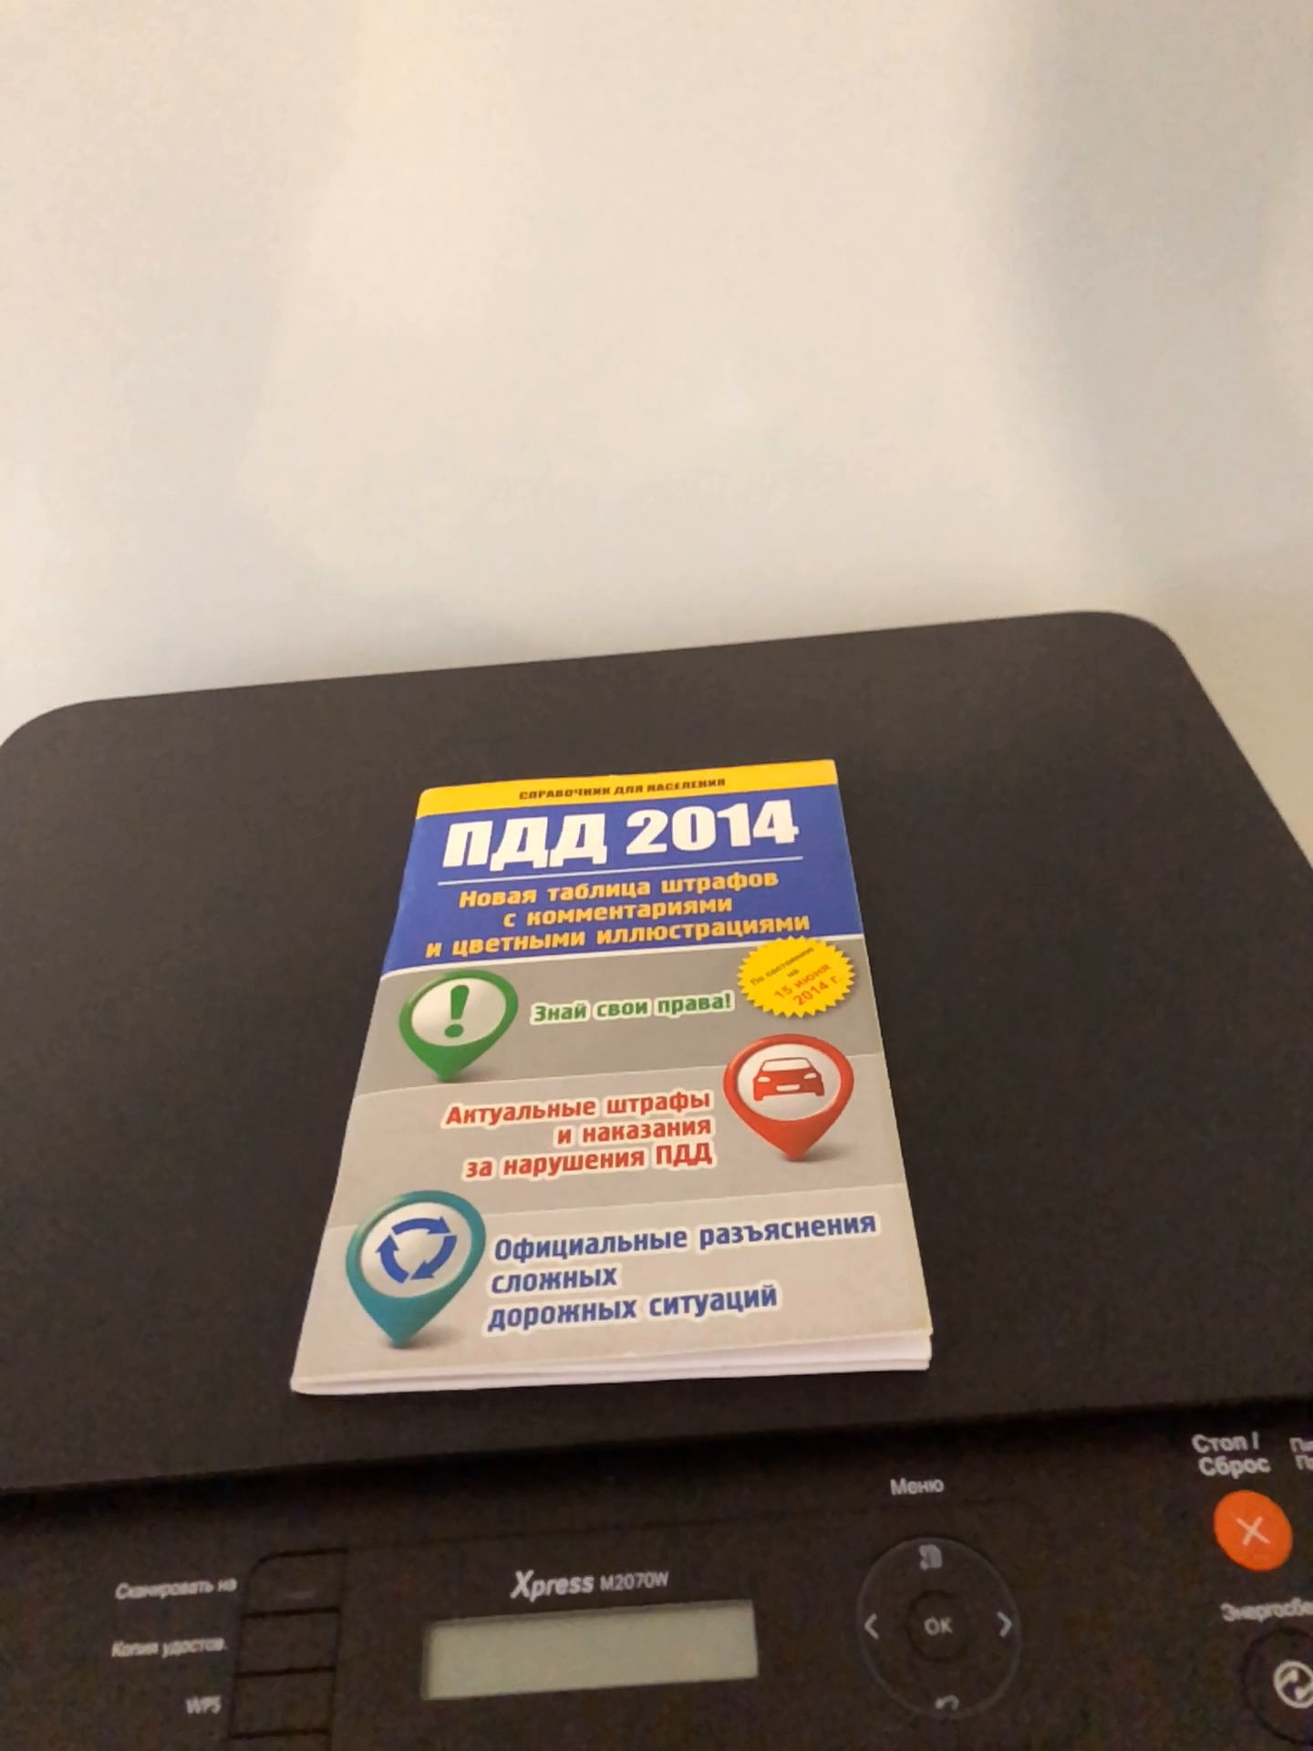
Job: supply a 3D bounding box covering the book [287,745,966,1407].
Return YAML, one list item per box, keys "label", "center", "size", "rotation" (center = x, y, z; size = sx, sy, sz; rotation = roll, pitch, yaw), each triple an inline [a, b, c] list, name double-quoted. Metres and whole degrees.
- label: "book"
  center: [-0.007, 0.033, 0.357]
  size: [0.130, 0.010, 0.201]
  rotation: [-4, 39, 2]
